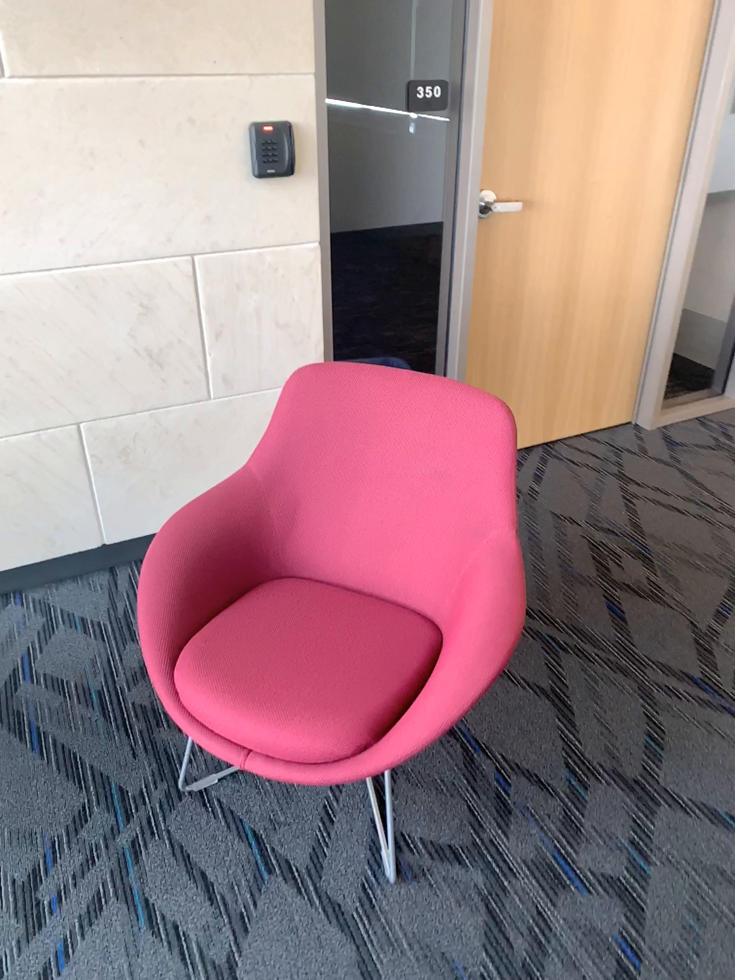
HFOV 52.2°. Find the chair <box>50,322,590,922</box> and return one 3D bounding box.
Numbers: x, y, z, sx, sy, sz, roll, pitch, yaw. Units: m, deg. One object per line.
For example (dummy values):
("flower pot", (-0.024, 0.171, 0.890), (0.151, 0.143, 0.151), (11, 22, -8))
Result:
("chair", (-0.044, 0.180, 1.442), (0.691, 0.754, 0.614), (14, 33, 23))
